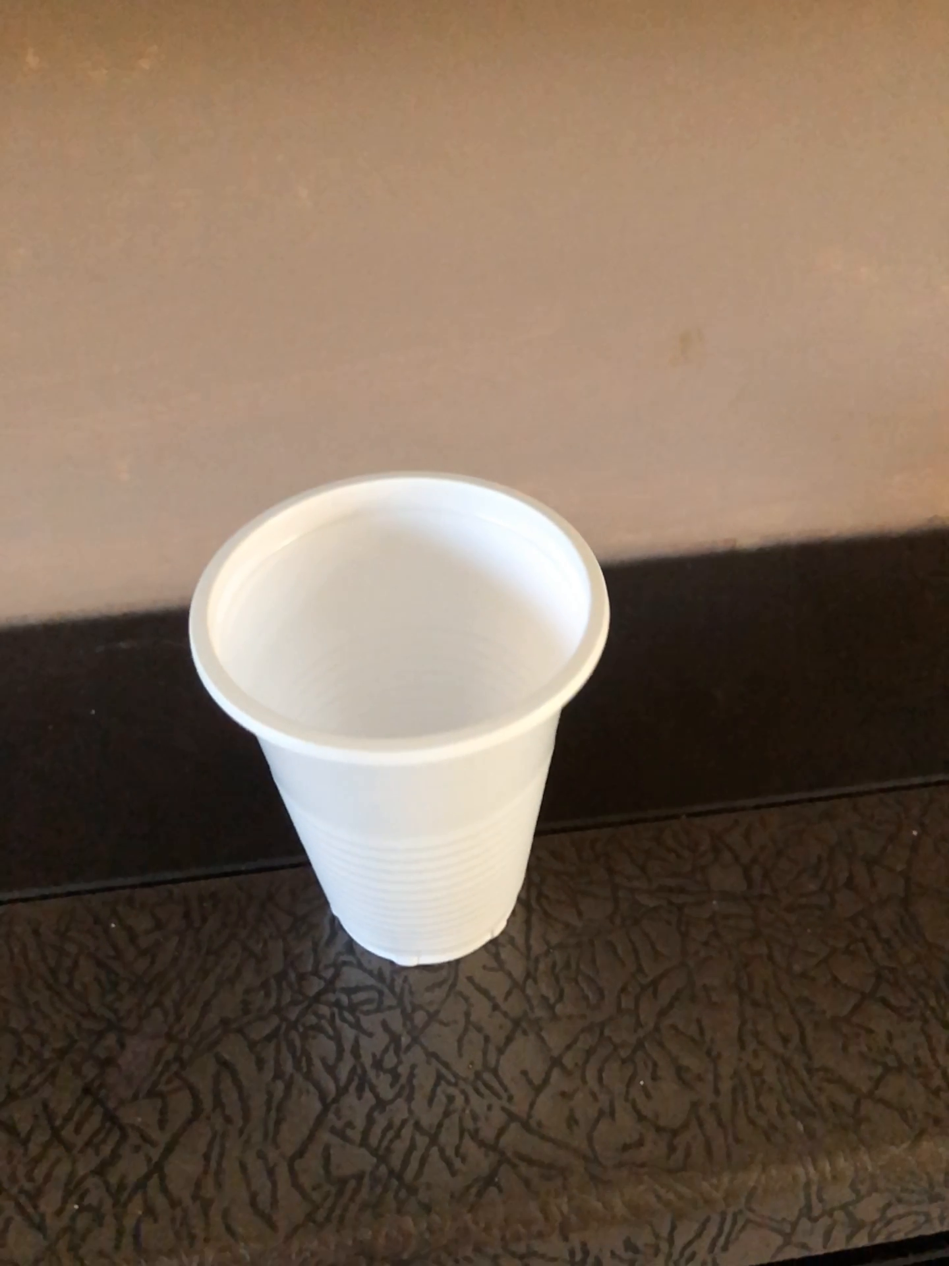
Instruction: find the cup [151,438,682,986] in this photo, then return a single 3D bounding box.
[{"bbox_3d":[-0.010,0.015,0.210,0.079,0.073,0.073,-1,46,1],"label":"cup"}]
